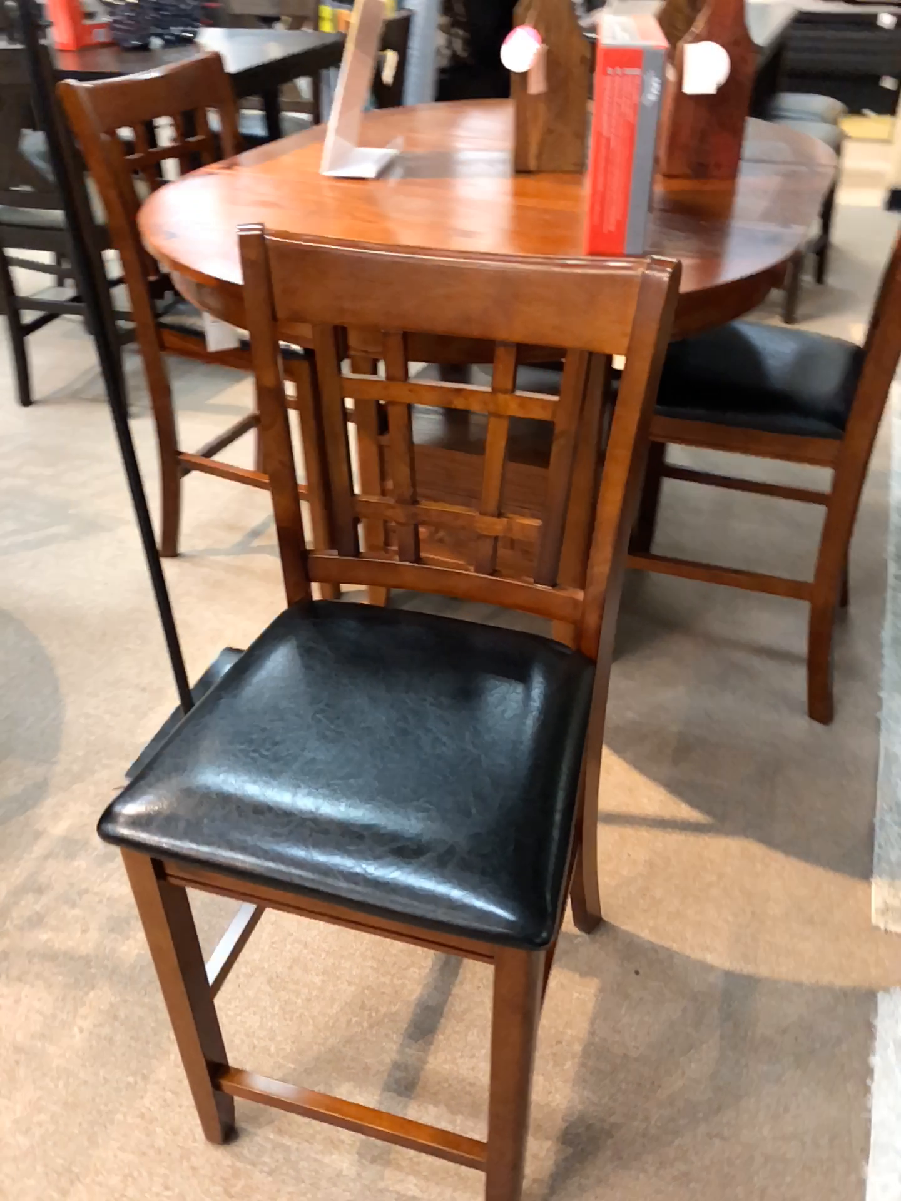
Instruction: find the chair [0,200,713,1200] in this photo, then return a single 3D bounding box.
[{"bbox_3d":[-0.049,0.151,1.067,0.470,0.963,0.523,10,36,14],"label":"chair"}]
